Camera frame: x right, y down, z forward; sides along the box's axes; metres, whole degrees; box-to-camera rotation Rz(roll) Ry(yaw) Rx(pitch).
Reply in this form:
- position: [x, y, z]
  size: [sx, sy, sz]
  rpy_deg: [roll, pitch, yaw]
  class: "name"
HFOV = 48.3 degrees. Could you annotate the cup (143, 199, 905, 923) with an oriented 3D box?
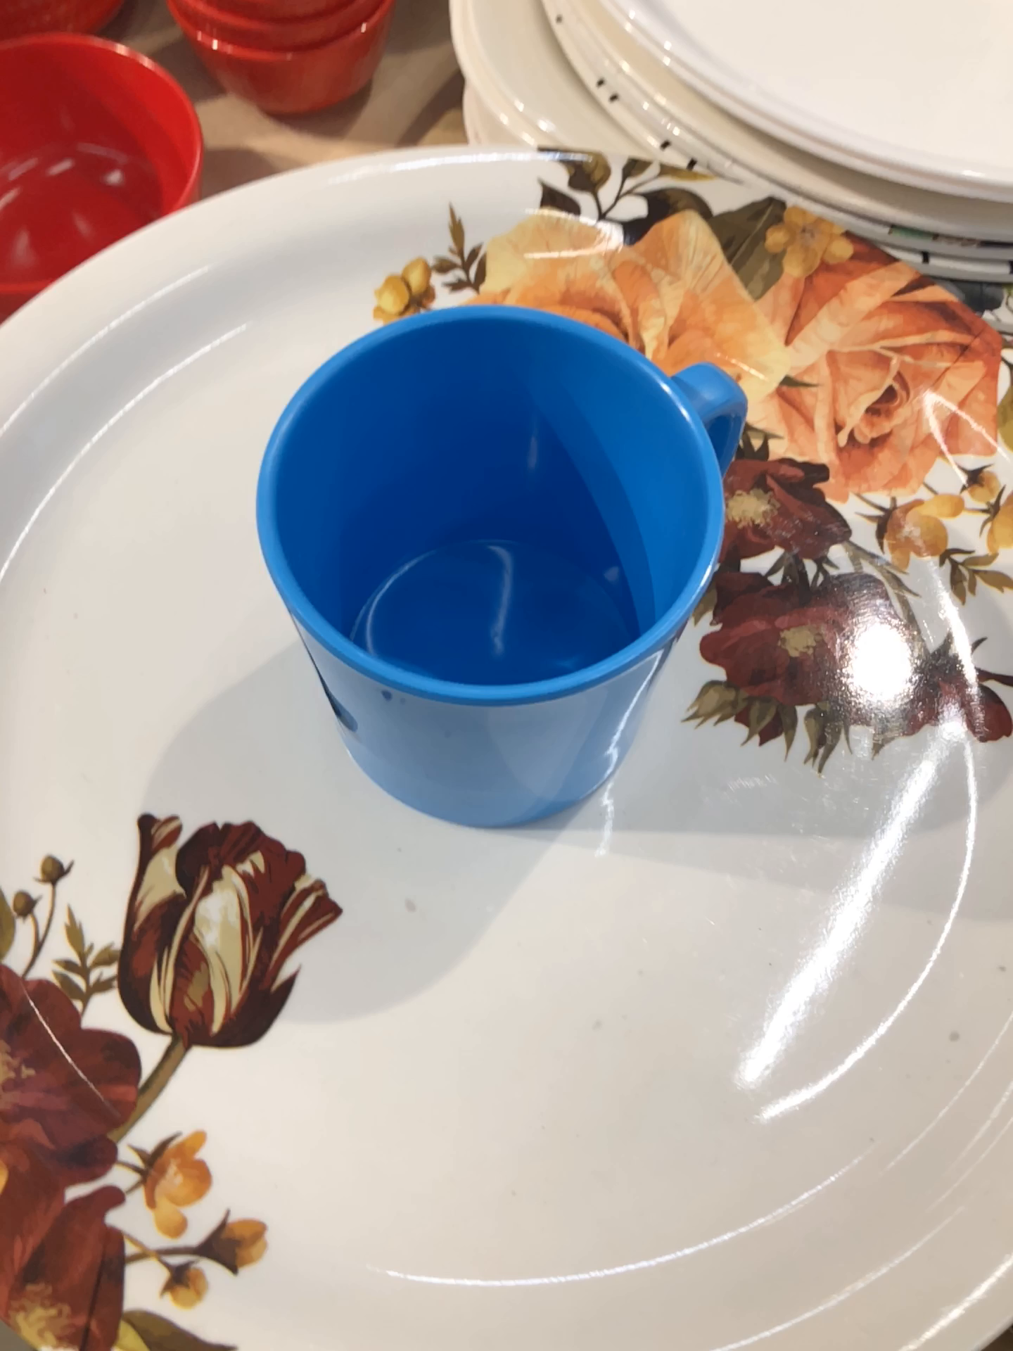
- position: [0.003, -0.019, 0.243]
  size: [0.110, 0.090, 0.080]
  rpy_deg: [-32, 72, -13]
  class: "cup"
